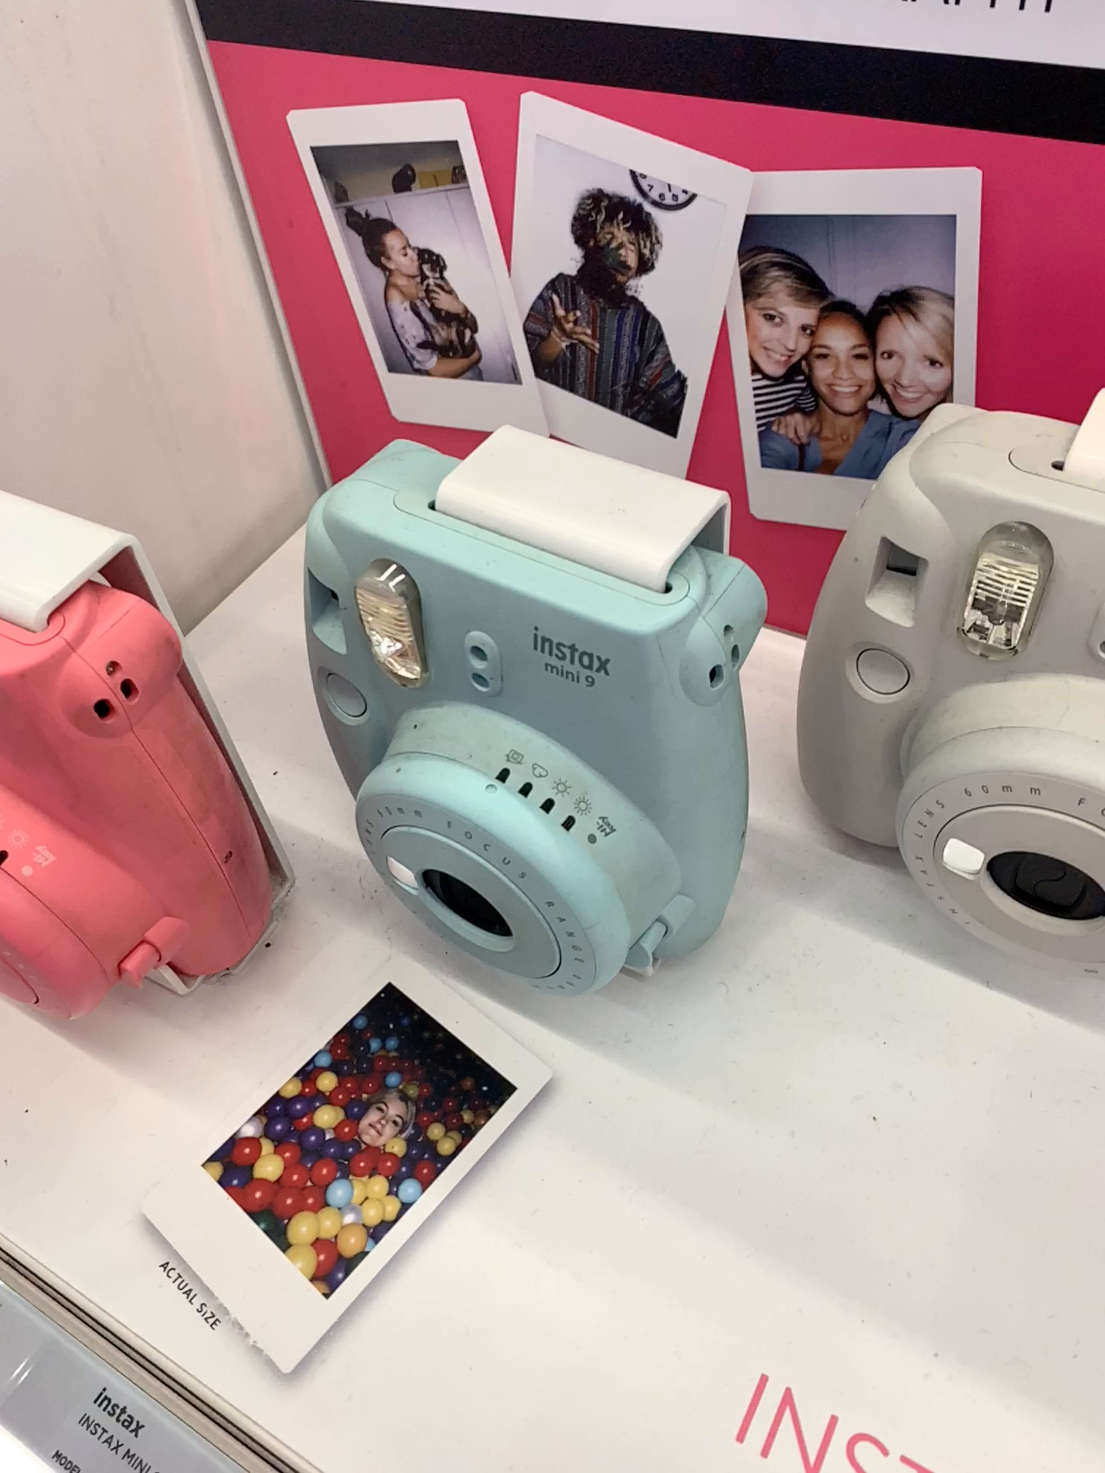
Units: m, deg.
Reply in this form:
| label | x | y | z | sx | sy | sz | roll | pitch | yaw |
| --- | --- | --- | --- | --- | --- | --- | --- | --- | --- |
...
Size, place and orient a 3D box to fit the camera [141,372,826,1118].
| label | x | y | z | sx | sy | sz | roll | pitch | yaw |
| --- | --- | --- | --- | --- | --- | --- | --- | --- | --- |
| camera | -0.009 | 0.004 | 0.264 | 0.110 | 0.129 | 0.070 | 24 | 56 | 25 |
